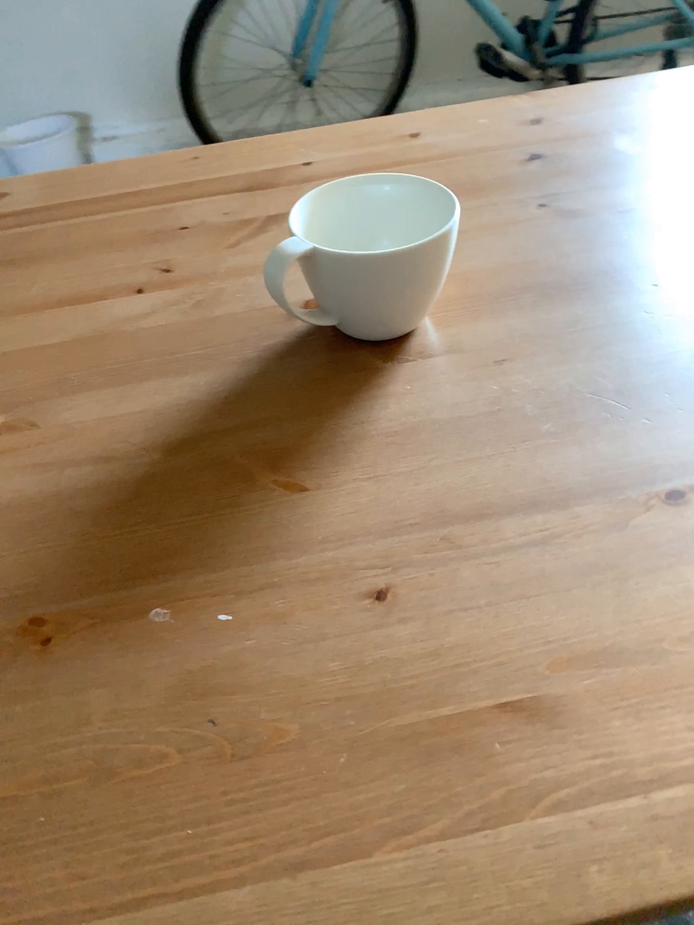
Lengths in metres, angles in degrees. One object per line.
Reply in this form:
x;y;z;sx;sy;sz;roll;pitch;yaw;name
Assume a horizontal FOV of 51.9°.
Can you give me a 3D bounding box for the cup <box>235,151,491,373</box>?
0.009;-0.138;0.479;0.130;0.070;0.111;-20;48;-12;cup
